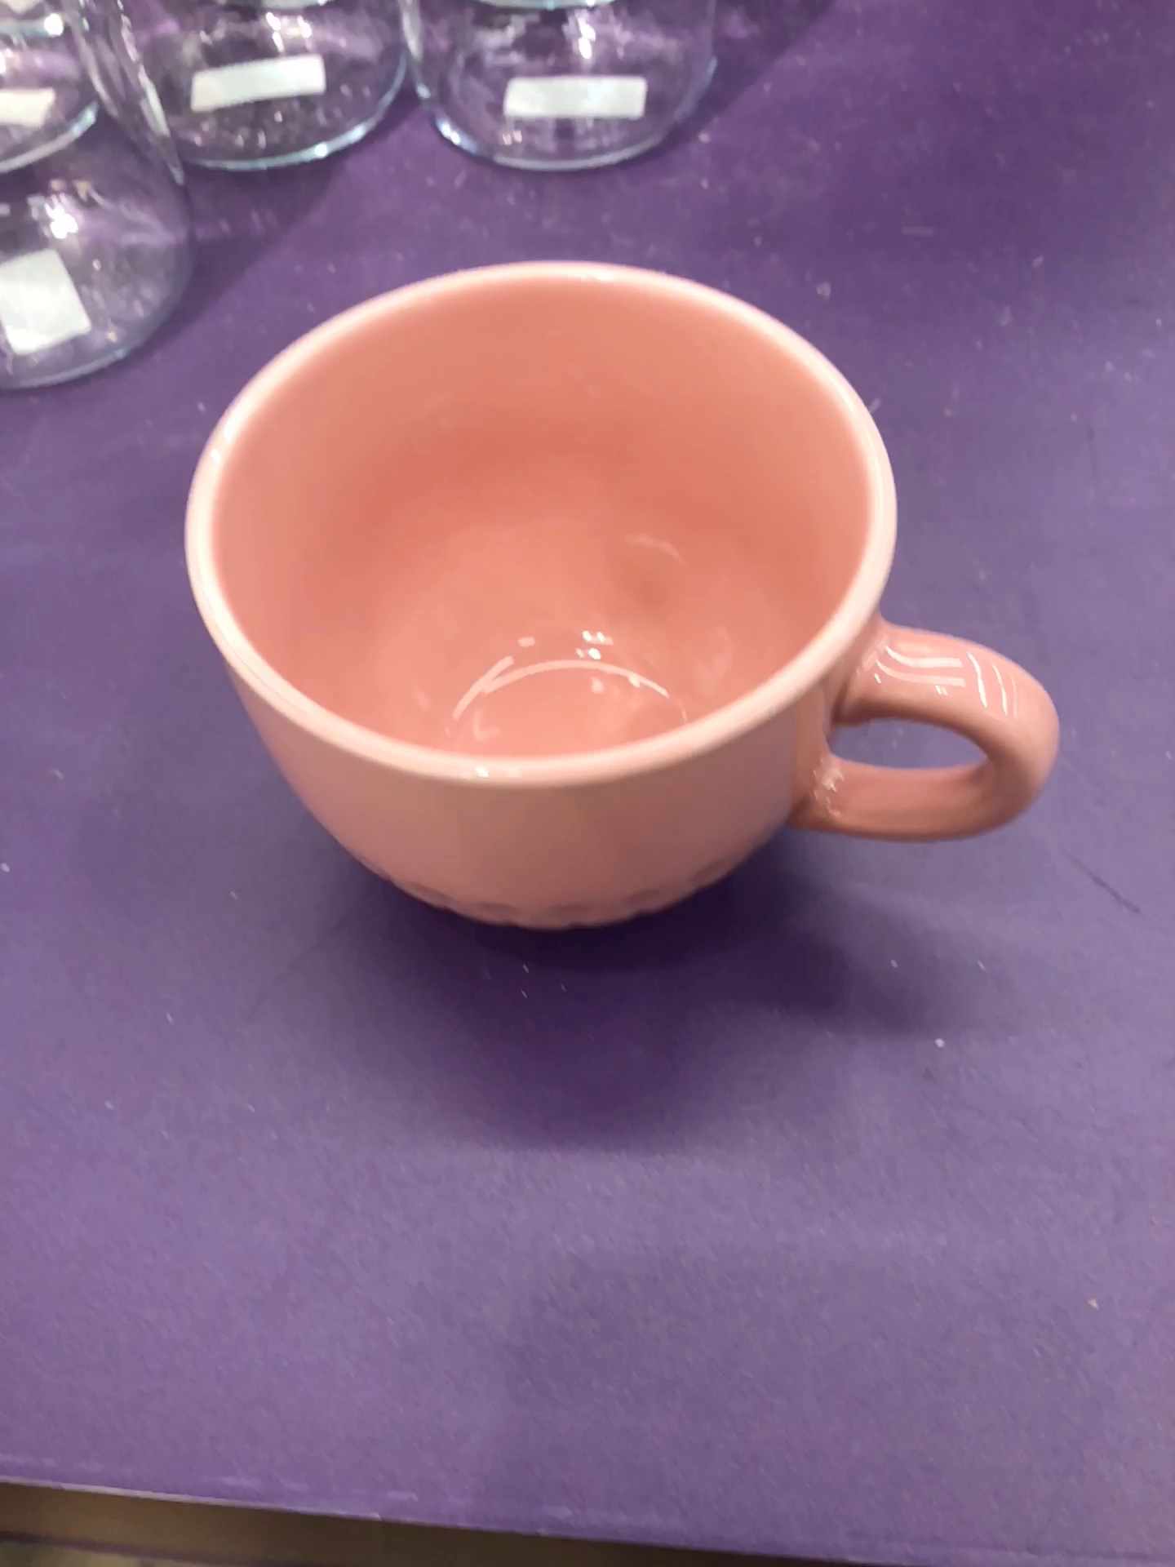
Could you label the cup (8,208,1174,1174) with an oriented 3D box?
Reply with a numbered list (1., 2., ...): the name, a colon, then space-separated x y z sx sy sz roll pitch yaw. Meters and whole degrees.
1. cup: 0.007 -0.023 0.215 0.140 0.060 0.110 18 60 15
